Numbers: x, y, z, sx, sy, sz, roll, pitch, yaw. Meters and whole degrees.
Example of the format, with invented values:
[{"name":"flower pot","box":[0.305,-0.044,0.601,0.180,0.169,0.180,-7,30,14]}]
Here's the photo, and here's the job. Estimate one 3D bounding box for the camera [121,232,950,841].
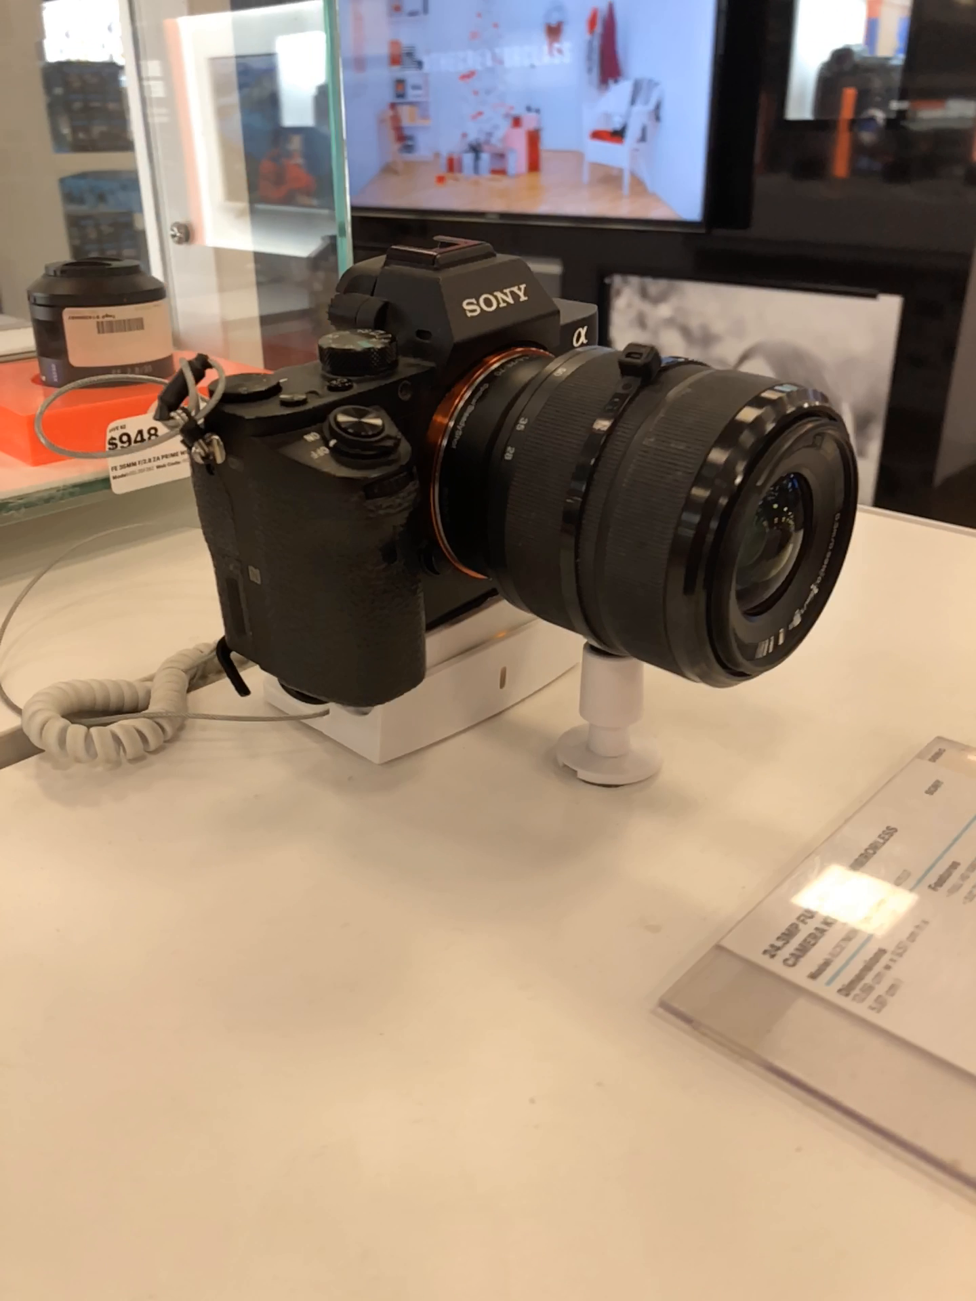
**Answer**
[{"name":"camera","box":[0.014,-0.050,0.289,0.150,0.100,0.140,19,31,35]}]
